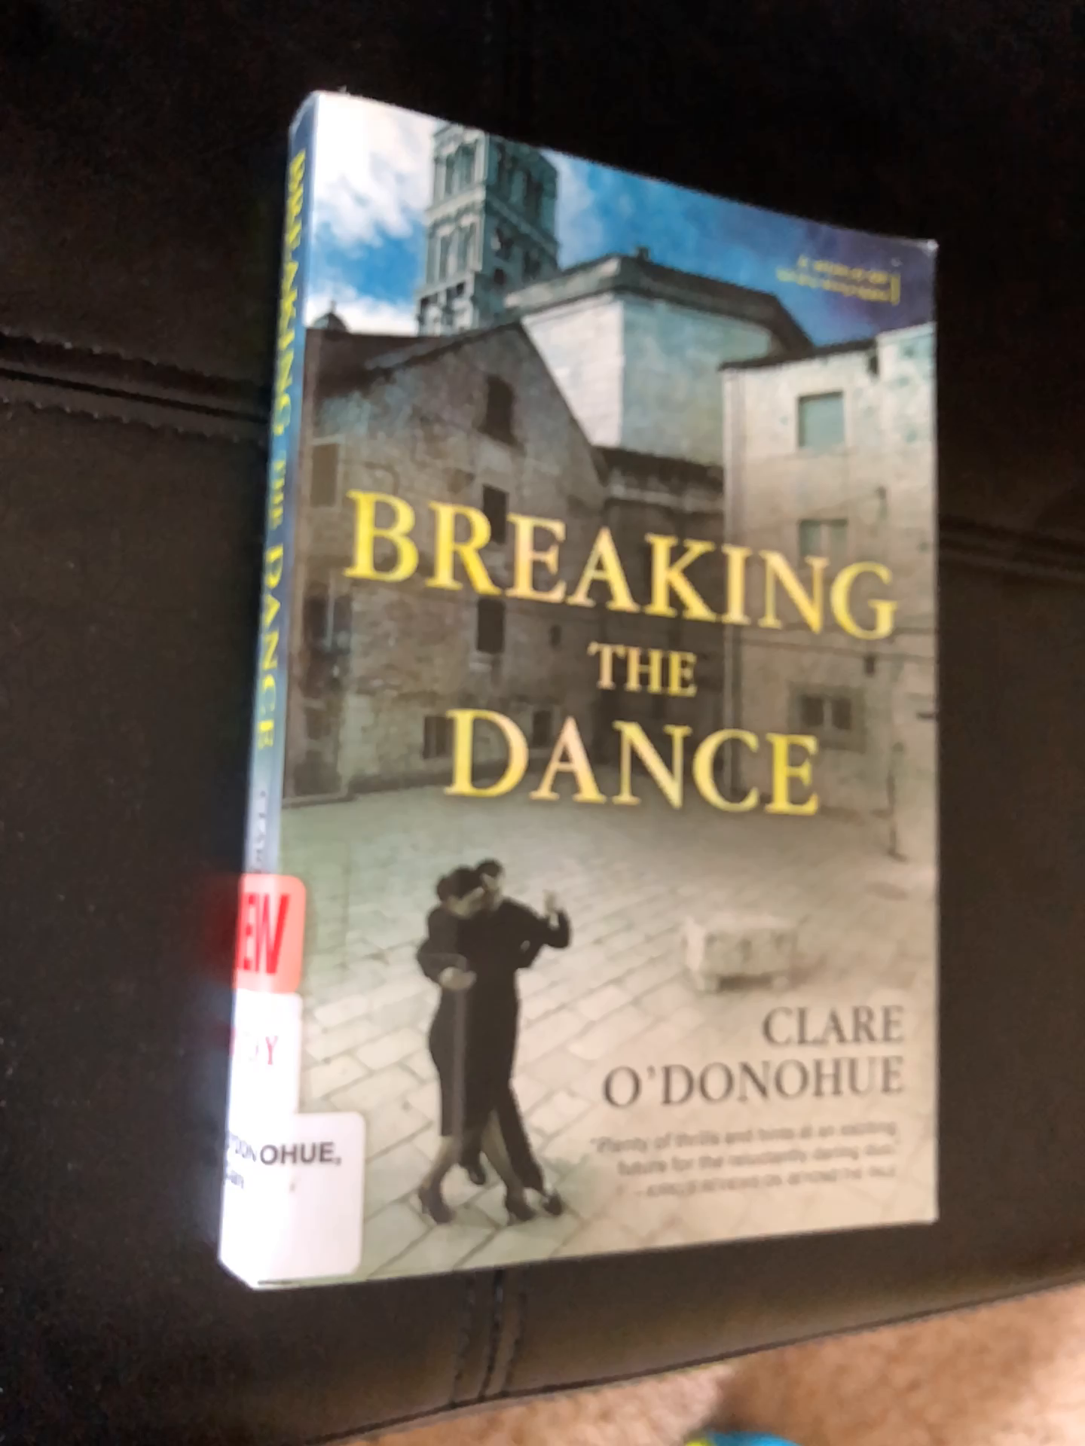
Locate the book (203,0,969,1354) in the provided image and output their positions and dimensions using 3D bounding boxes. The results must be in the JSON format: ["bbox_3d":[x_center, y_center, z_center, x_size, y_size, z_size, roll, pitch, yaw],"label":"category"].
[{"bbox_3d":[0.017,-0.005,0.240,0.141,0.040,0.210,6,83,-29],"label":"book"}]
